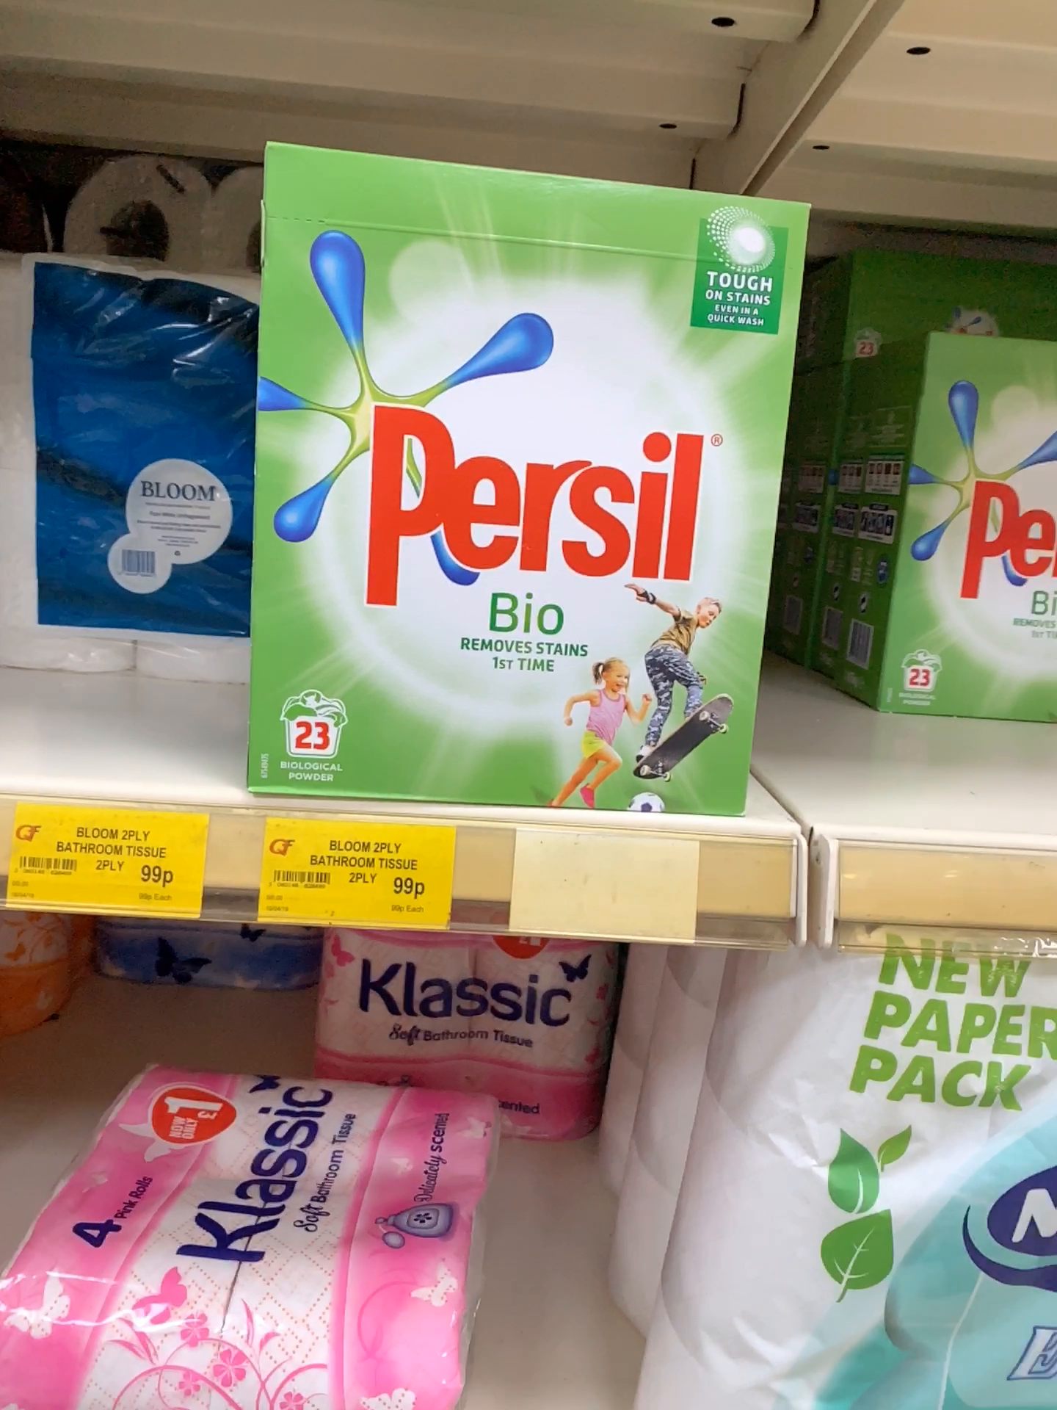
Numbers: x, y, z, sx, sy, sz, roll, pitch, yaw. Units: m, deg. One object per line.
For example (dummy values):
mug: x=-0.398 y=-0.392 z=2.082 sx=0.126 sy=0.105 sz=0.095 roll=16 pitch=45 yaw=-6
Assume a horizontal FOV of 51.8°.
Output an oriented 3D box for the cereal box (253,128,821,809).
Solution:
cereal box: x=-0.003 y=-0.089 z=0.455 sx=0.200 sy=0.239 sz=0.090 roll=3 pitch=10 yaw=-6
